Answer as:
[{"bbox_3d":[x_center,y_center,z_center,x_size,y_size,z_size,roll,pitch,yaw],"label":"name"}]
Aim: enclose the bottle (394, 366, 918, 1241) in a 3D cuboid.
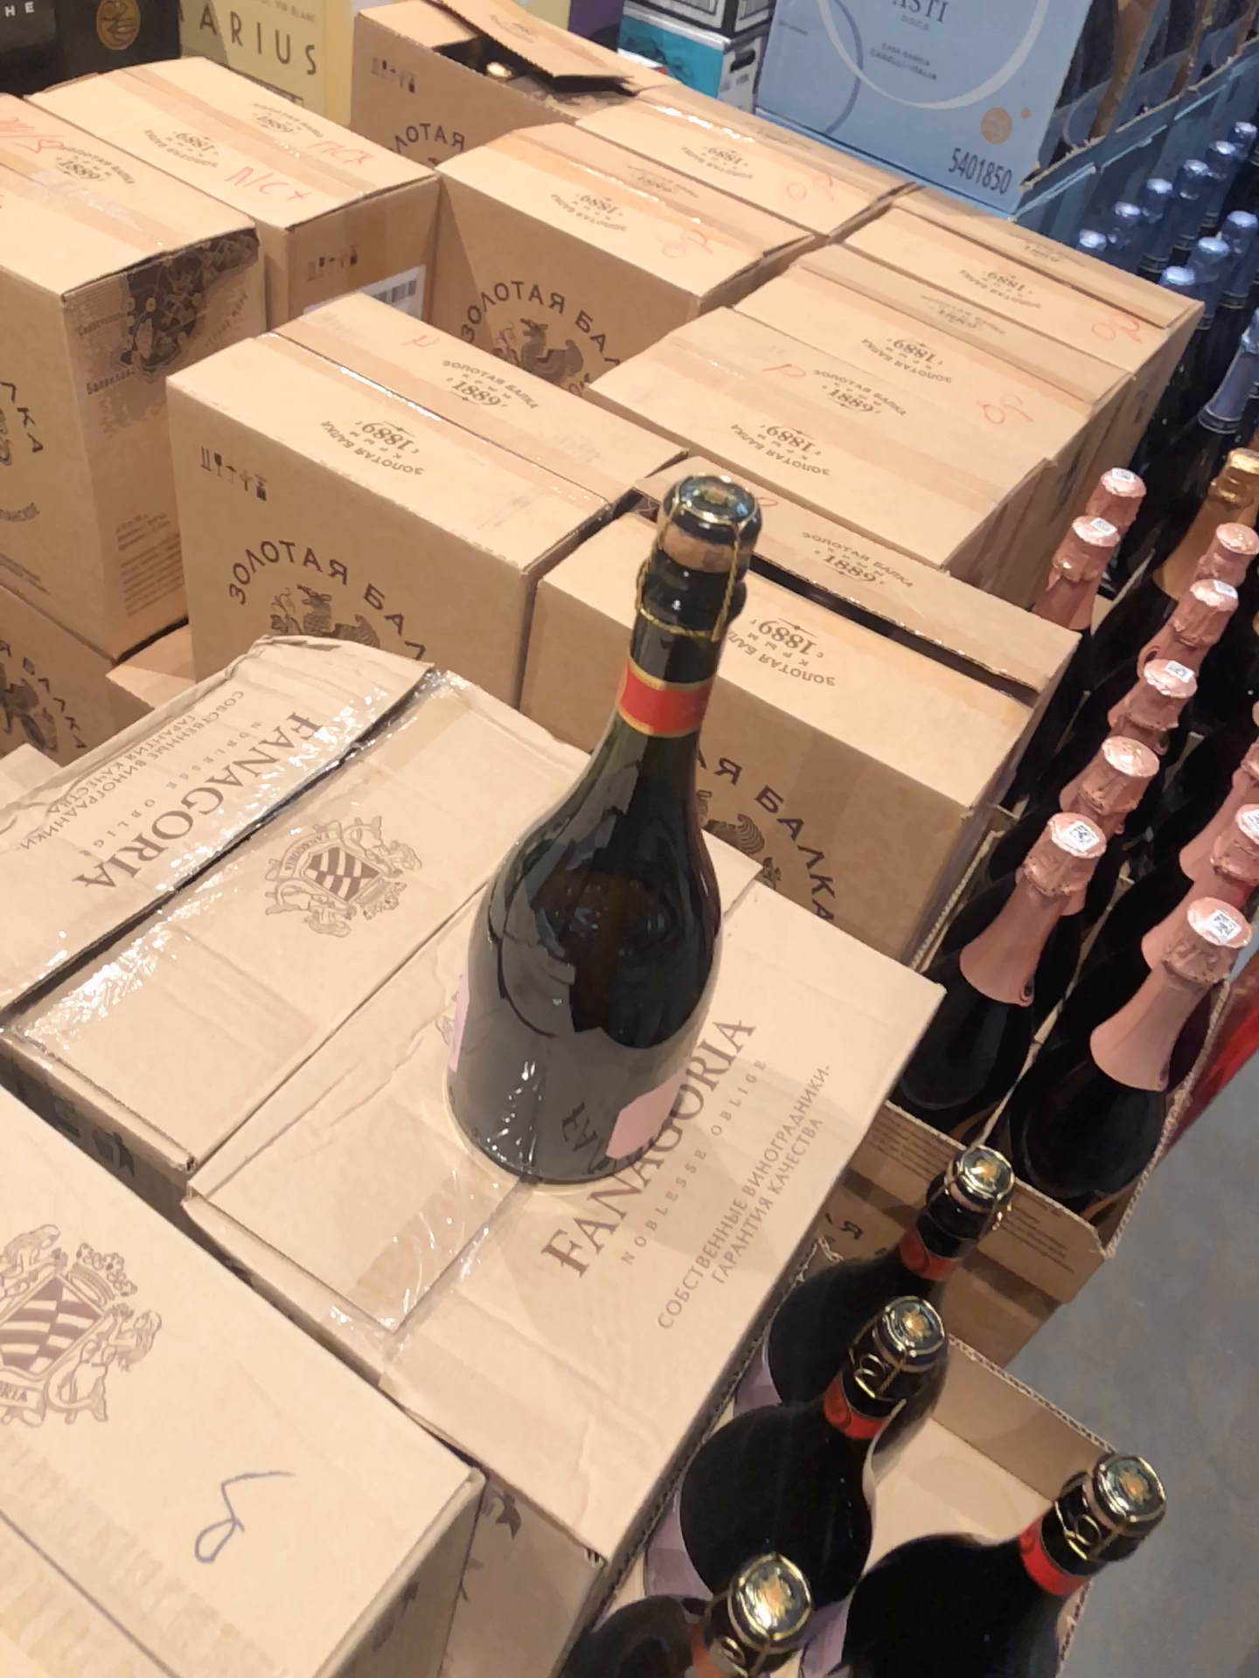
[{"bbox_3d":[-0.006,0.006,0.496,0.100,0.298,0.111,26,48,12],"label":"bottle"}]
